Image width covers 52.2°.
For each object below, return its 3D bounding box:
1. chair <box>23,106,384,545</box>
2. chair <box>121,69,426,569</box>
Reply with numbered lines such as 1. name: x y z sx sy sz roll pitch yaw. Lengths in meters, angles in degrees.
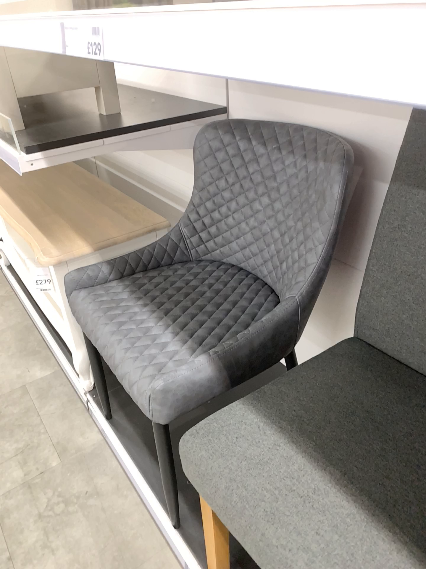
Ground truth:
1. chair: -0.018 0.055 1.069 0.541 0.792 0.483 -22 37 -28
2. chair: 0.274 0.206 0.697 0.562 0.911 0.433 -23 37 -28
